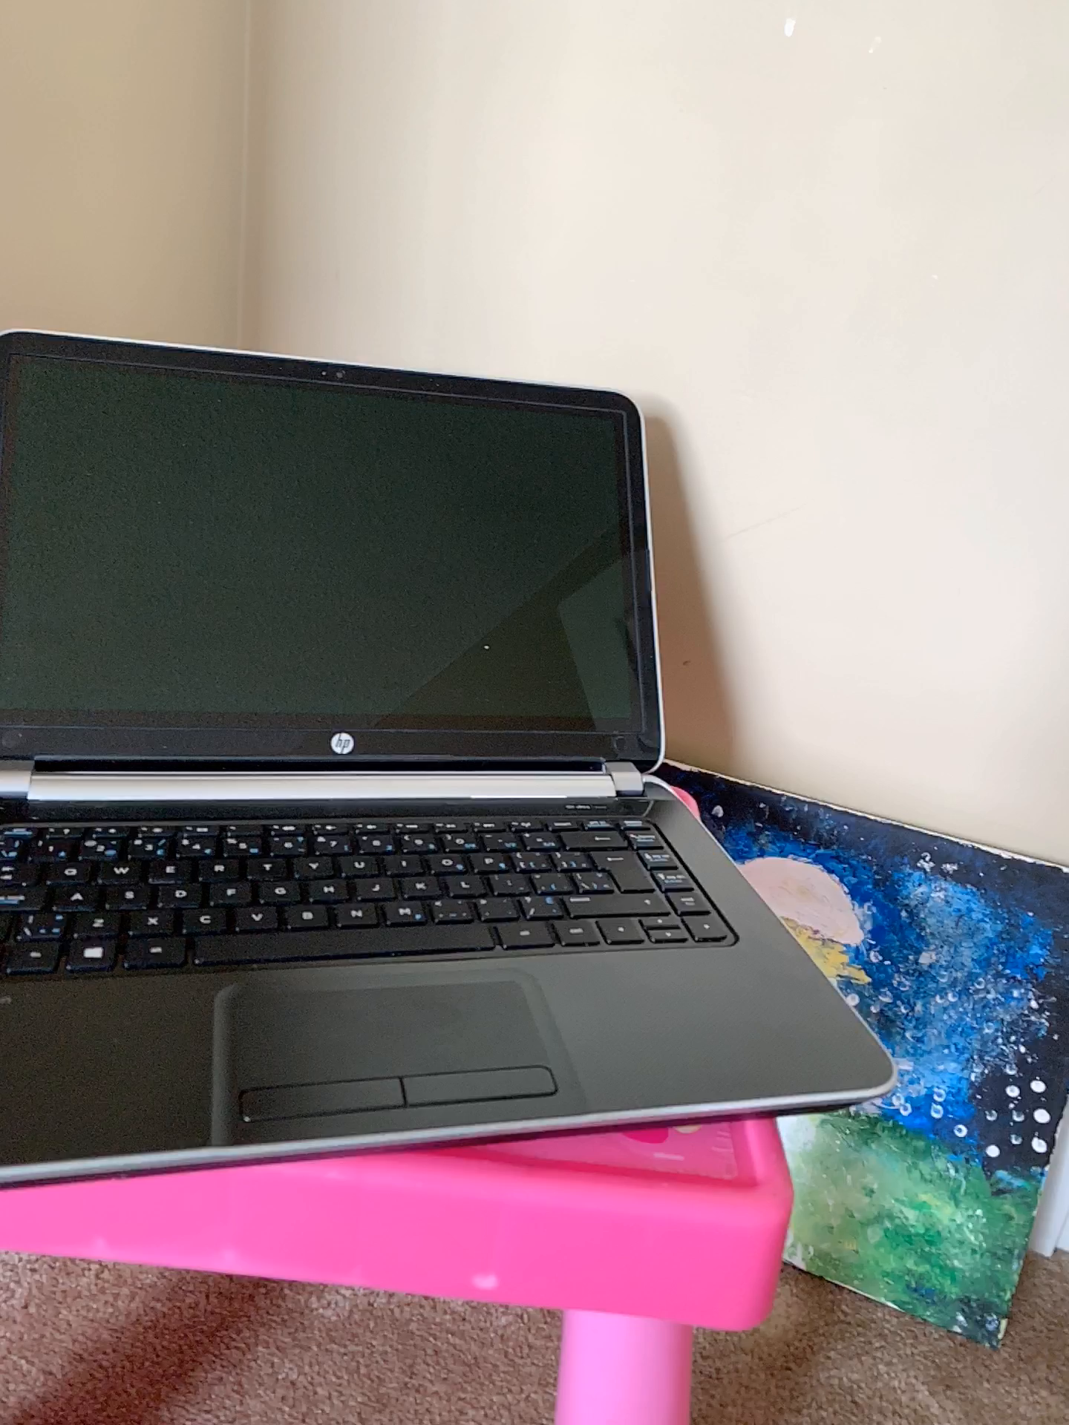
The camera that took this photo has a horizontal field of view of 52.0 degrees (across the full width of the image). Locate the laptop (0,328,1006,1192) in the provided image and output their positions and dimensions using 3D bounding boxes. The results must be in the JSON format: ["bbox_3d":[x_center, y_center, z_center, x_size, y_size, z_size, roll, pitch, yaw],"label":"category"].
[{"bbox_3d":[-0.059,-0.020,0.380,0.274,0.161,0.272,1,23,-16],"label":"laptop"}]
